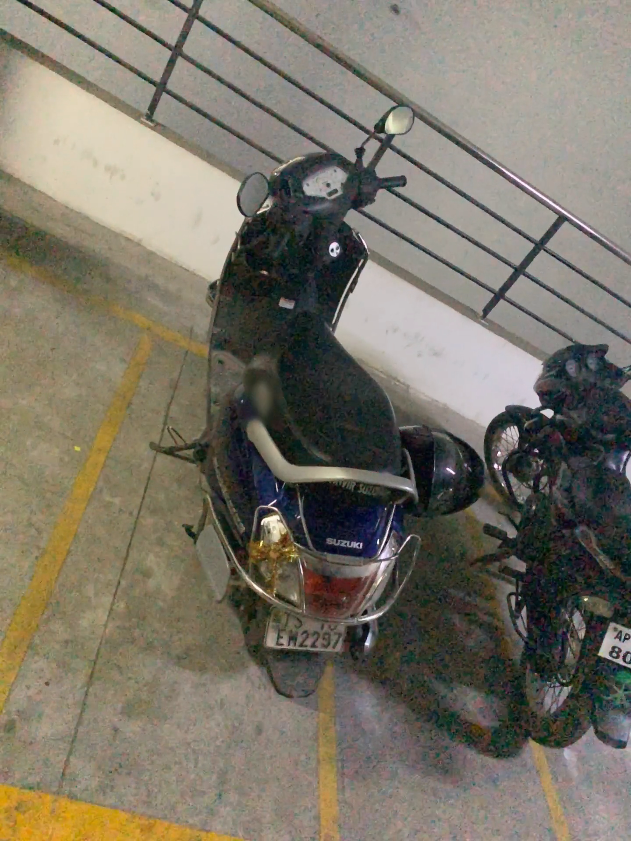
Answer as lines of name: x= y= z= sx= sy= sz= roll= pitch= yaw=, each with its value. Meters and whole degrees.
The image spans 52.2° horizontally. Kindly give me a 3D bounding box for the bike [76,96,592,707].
bike: x=-0.198 y=-0.134 z=1.977 sx=0.623 sy=1.157 sz=1.479 roll=19 pitch=30 yaw=-29
